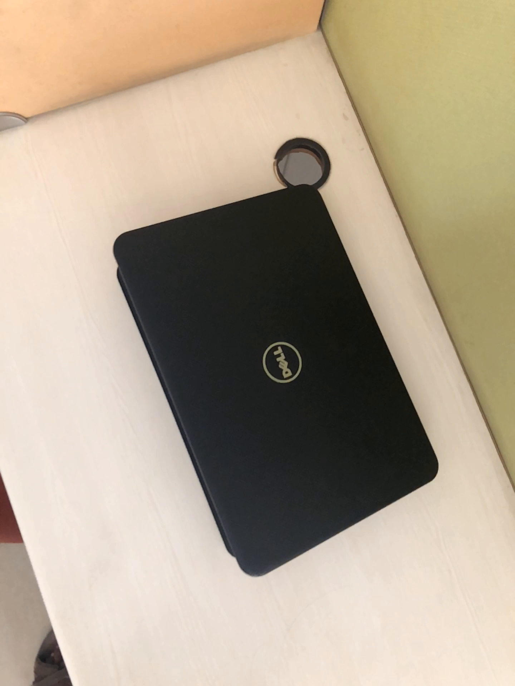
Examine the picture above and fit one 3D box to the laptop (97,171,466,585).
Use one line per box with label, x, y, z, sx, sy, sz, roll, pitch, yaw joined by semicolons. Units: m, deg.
laptop;0.021;0.030;0.607;0.246;0.079;0.353;-22;85;-6
